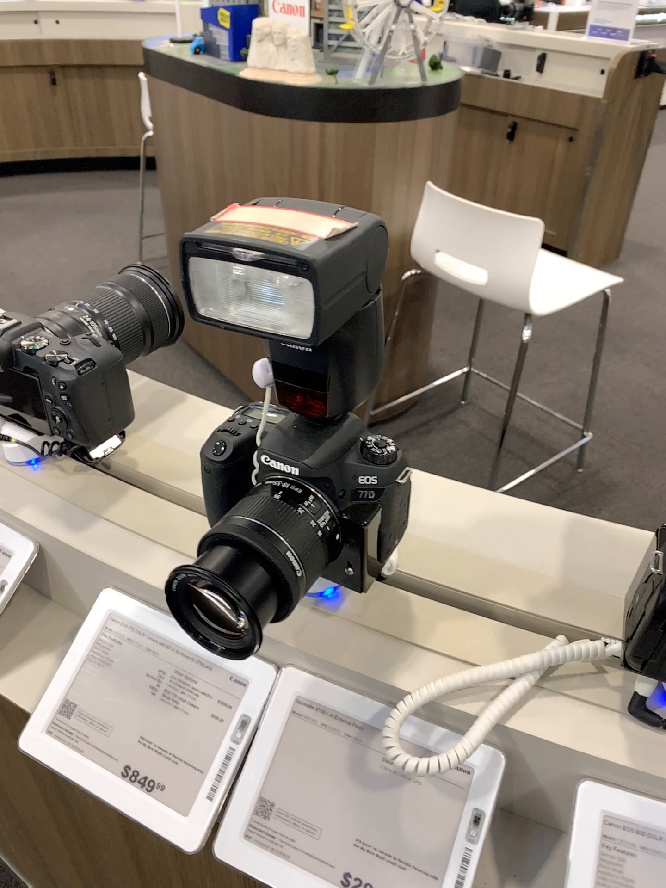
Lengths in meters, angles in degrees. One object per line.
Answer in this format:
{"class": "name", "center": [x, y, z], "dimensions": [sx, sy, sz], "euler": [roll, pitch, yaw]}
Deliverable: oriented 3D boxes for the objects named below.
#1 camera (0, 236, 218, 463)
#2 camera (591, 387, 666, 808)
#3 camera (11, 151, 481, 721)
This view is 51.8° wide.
{"class": "camera", "center": [-0.210, -0.091, 0.598], "dimensions": [0.140, 0.103, 0.166], "euler": [20, 41, 22]}
{"class": "camera", "center": [0.240, 0.069, 0.381], "dimensions": [0.140, 0.103, 0.166], "euler": [17, 40, 18]}
{"class": "camera", "center": [-0.031, -0.012, 0.386], "dimensions": [0.140, 0.232, 0.177], "euler": [19, 40, 21]}
